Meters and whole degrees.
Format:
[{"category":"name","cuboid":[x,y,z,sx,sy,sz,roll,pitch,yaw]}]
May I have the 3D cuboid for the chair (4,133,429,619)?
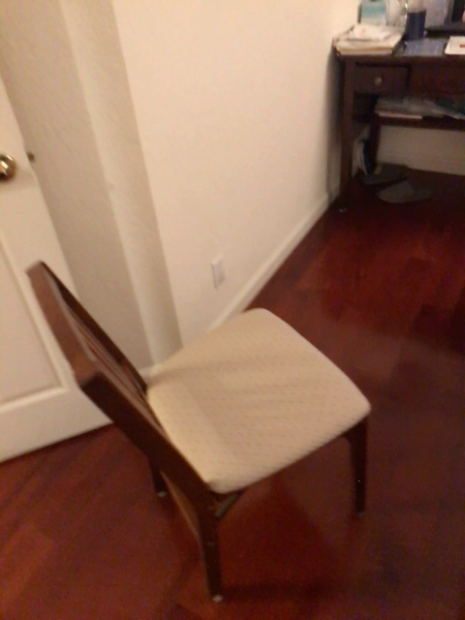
[{"category":"chair","cuboid":[-0.008,0.197,1.139,0.562,0.923,0.502,-25,42,-18]}]
